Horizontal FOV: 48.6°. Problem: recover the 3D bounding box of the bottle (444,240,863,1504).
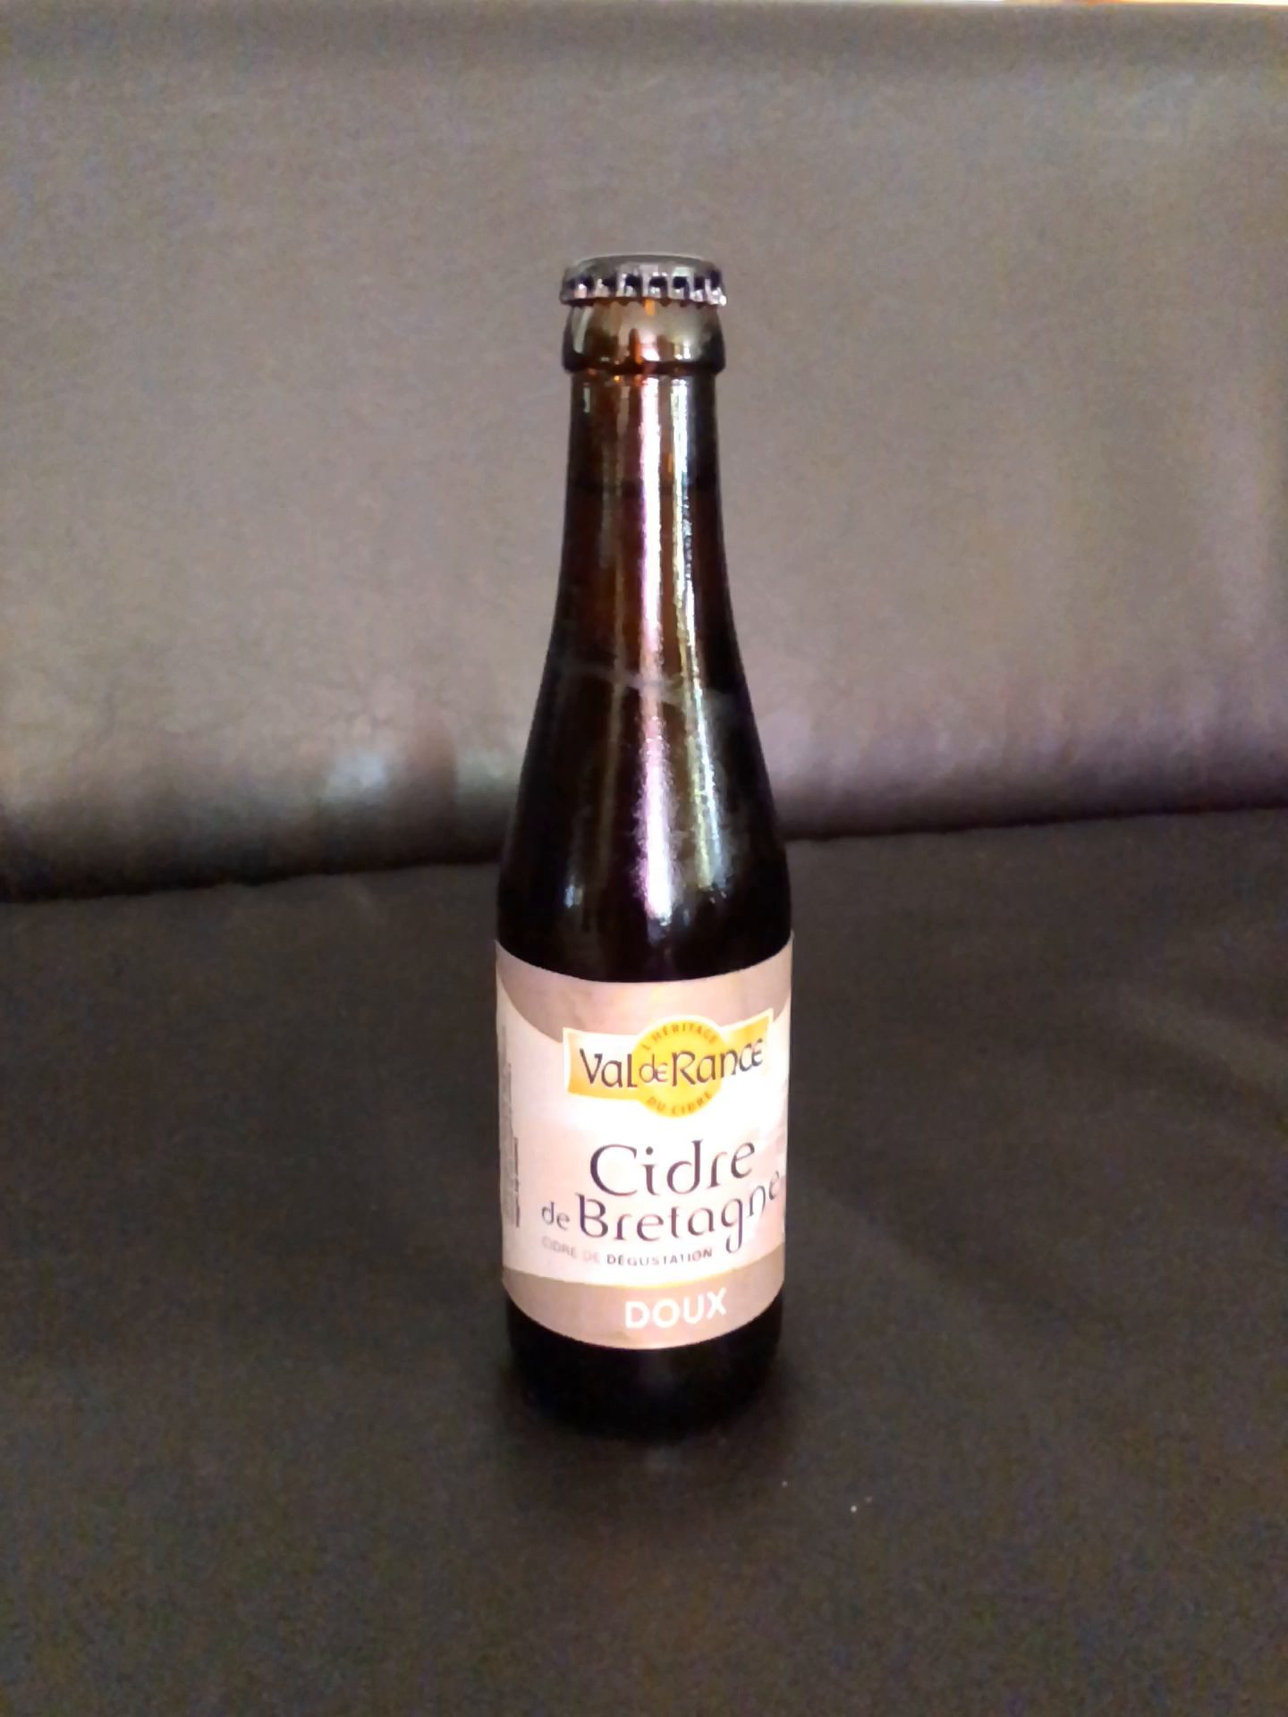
[{"bbox_3d":[0.001,0.005,0.260,0.060,0.209,0.060,-2,16,0],"label":"bottle"}]
